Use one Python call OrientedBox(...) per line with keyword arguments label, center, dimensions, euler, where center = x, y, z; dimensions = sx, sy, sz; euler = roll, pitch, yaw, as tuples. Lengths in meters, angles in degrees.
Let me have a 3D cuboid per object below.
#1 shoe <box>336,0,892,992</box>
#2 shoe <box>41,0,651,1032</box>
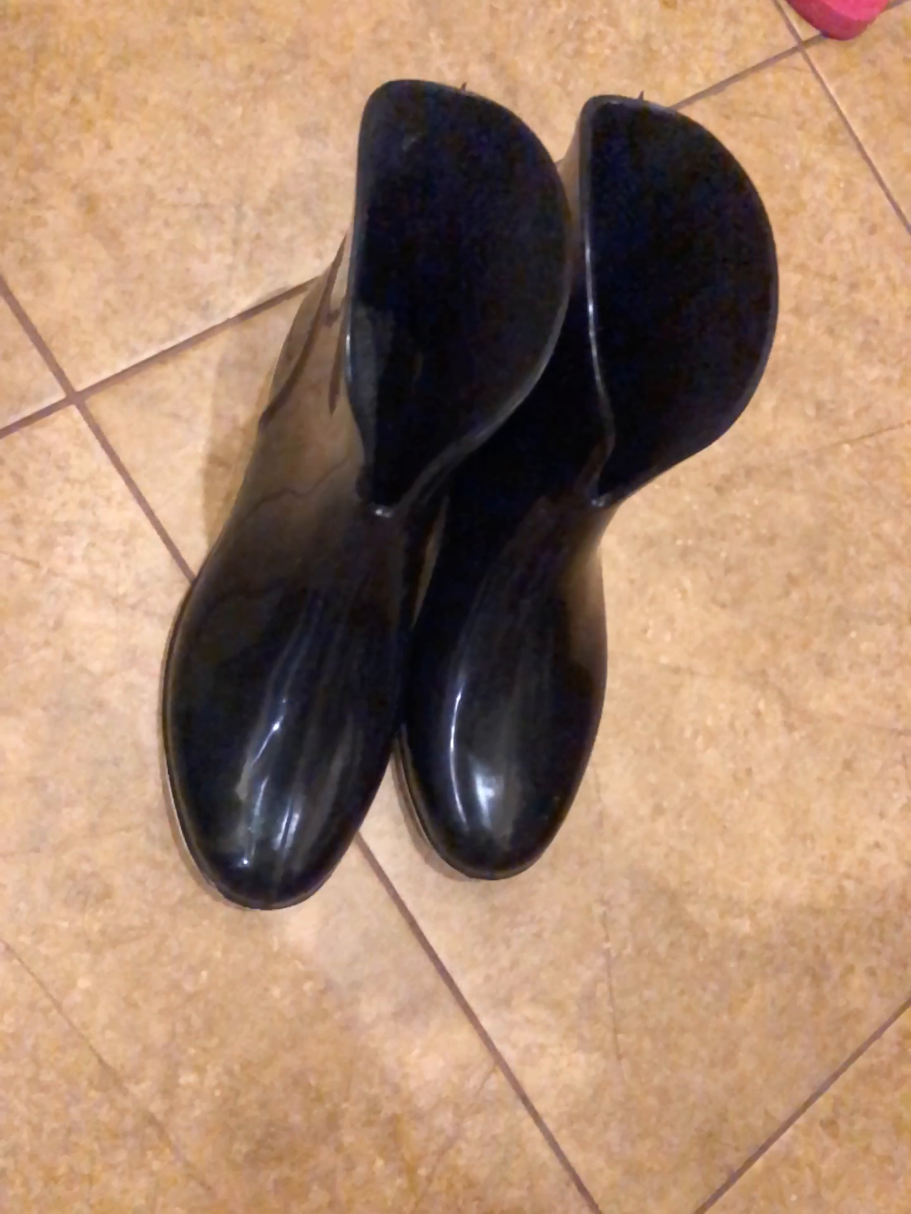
OrientedBox(label="shoe", center=(0.034, -0.024, 0.391), dimensions=(0.110, 0.230, 0.280), euler=(4, 80, -17))
OrientedBox(label="shoe", center=(-0.048, -0.032, 0.349), dimensions=(0.110, 0.230, 0.280), euler=(10, 78, -16))
